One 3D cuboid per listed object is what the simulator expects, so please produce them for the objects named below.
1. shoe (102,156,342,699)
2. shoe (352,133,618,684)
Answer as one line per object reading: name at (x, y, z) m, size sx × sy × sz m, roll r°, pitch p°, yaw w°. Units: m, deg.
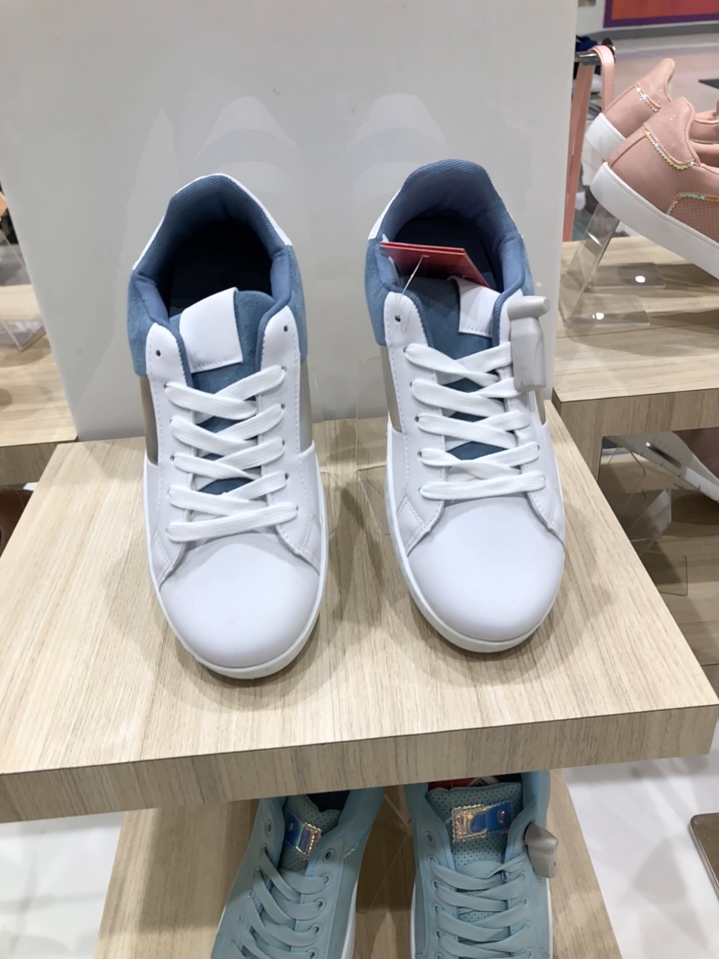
shoe at (-0.070, -0.026, 0.428) m, size 0.100 × 0.261 × 0.090 m, roll -4°, pitch -8°, yaw 0°
shoe at (0.057, -0.034, 0.421) m, size 0.100 × 0.261 × 0.090 m, roll -4°, pitch -8°, yaw 0°
